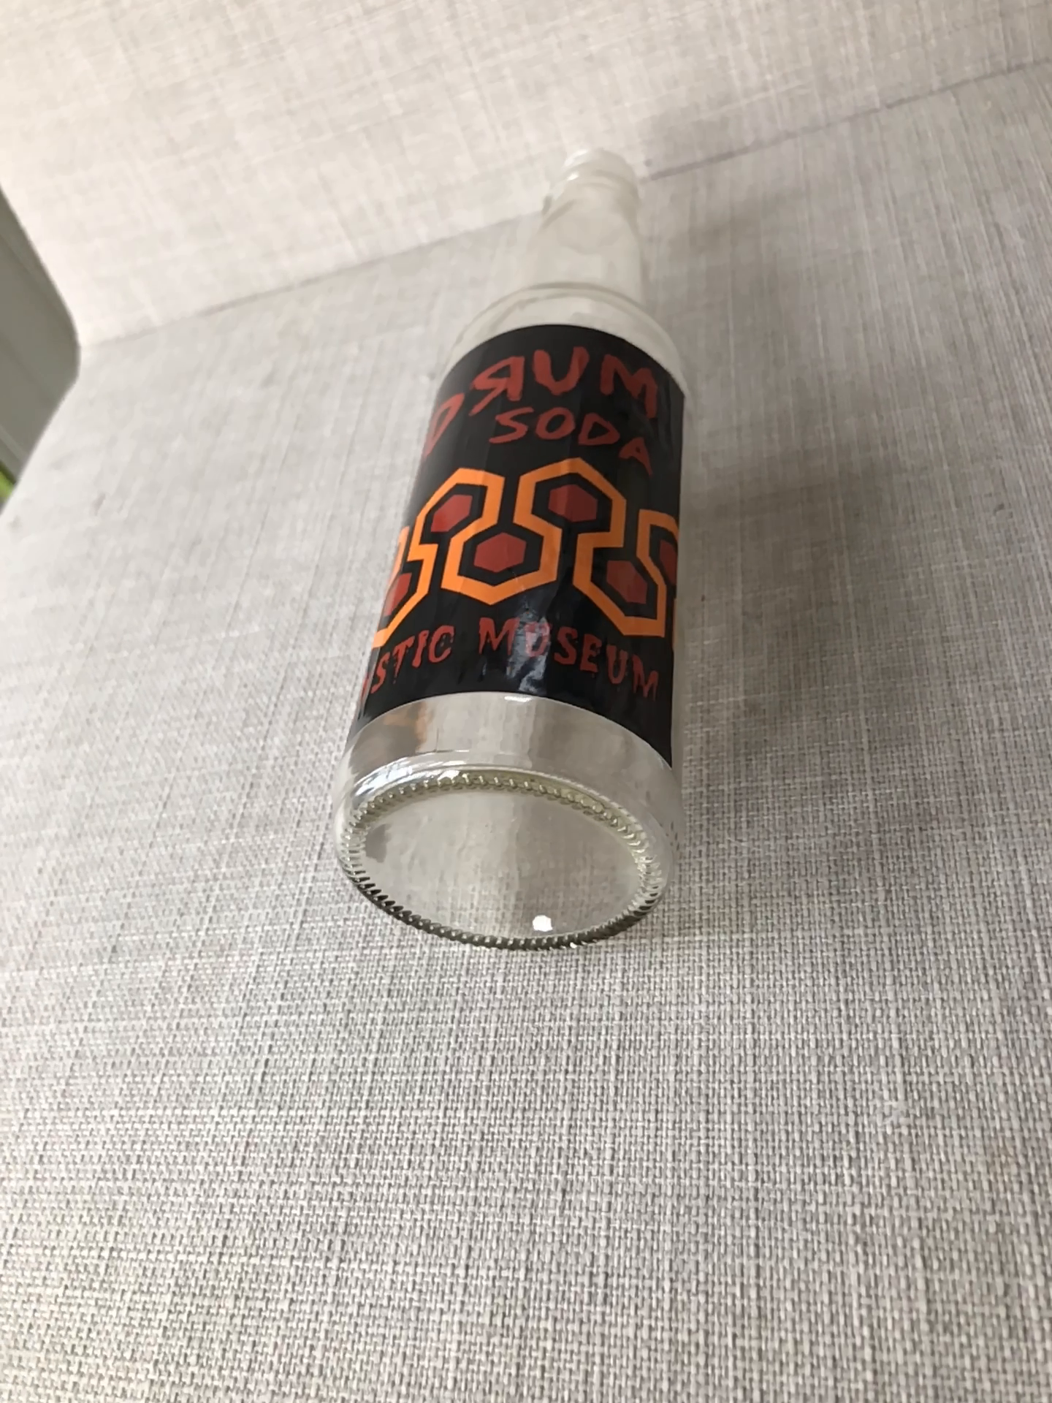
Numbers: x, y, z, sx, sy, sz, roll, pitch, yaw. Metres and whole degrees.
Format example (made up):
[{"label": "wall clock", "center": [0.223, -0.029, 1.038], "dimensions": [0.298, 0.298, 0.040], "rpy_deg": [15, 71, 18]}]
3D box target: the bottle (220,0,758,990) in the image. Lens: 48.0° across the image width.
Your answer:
[{"label": "bottle", "center": [0.008, -0.062, 0.260], "dimensions": [0.062, 0.069, 0.232], "rpy_deg": [-11, 48, 21]}]
